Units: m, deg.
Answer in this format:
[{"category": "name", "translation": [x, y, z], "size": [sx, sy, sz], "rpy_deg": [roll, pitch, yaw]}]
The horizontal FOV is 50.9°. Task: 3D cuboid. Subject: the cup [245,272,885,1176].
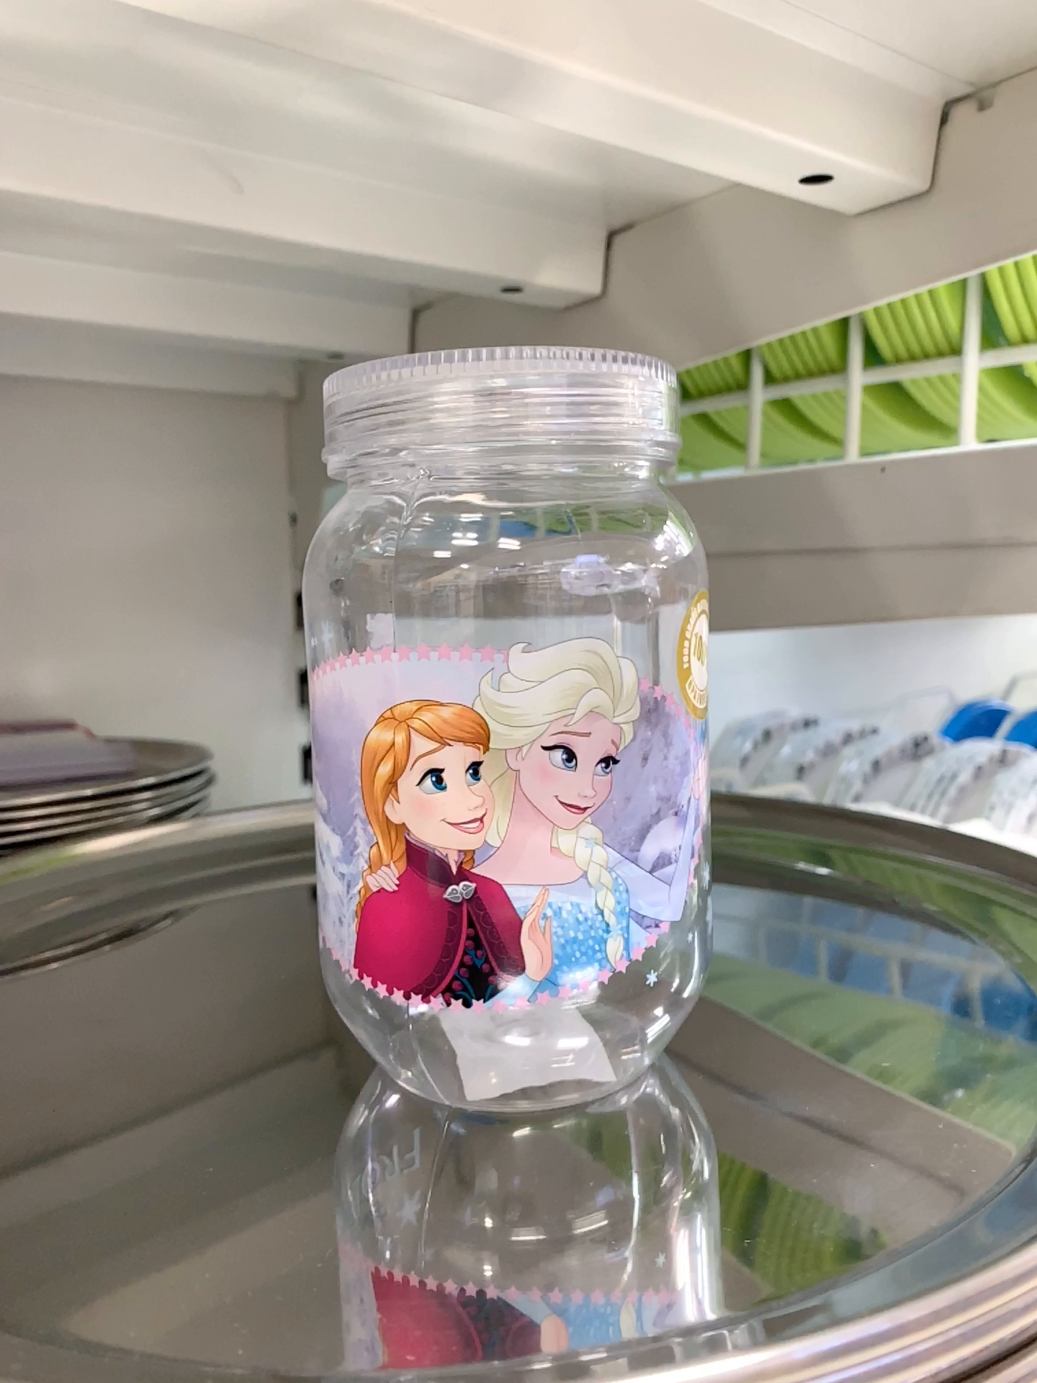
[{"category": "cup", "translation": [0.018, -0.001, 0.224], "size": [0.070, 0.130, 0.120], "rpy_deg": [3, 7, 39]}]
